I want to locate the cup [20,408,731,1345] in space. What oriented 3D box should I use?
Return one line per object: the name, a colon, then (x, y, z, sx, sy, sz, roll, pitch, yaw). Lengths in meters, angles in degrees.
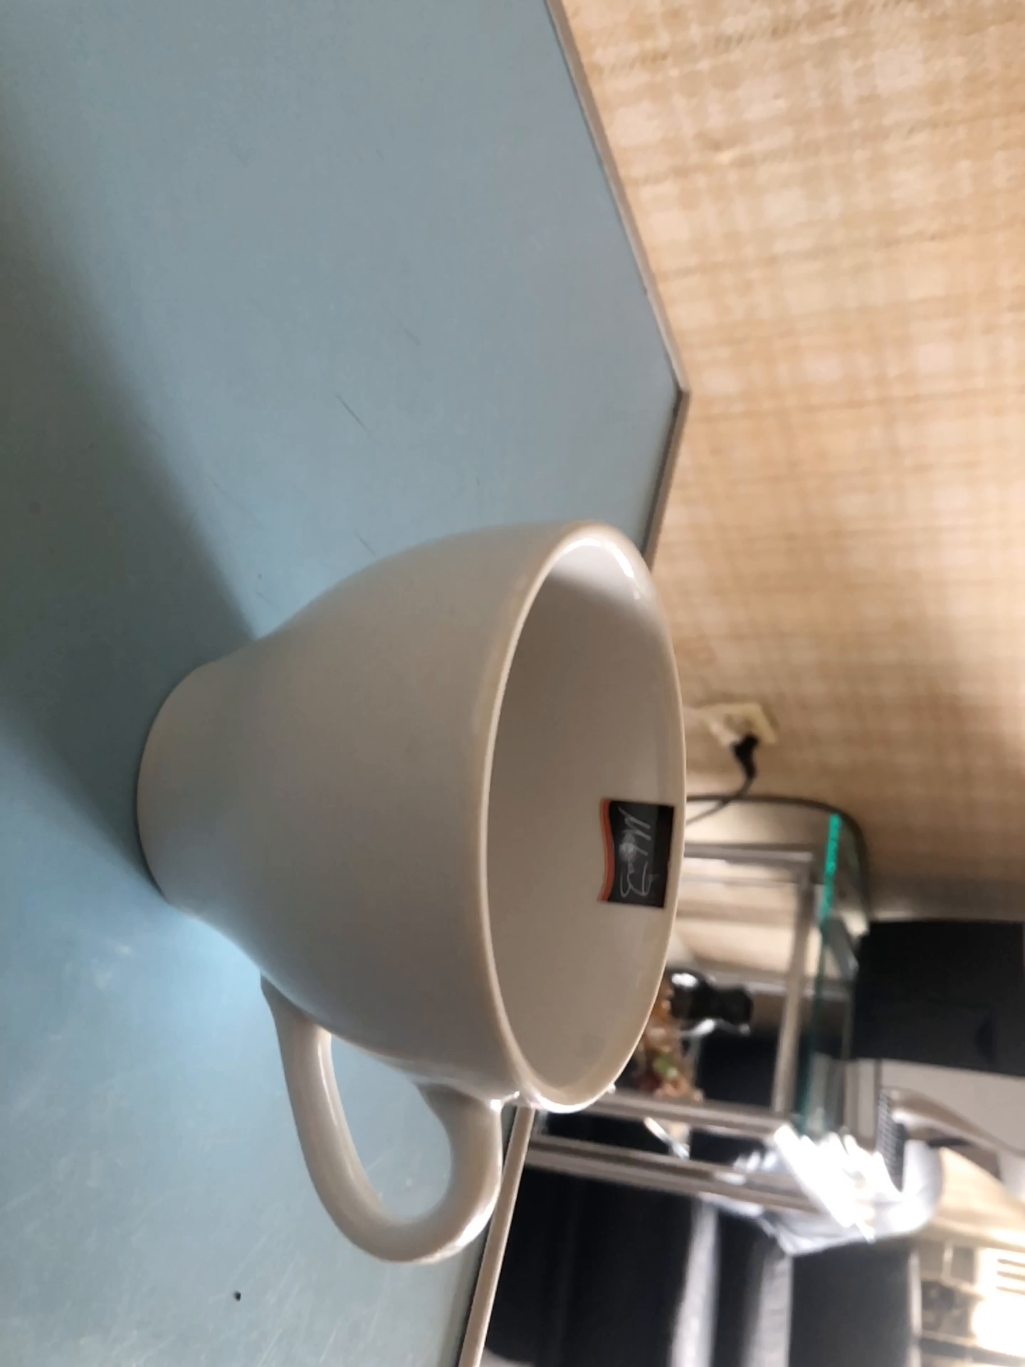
cup: (-0.009, 0.030, 0.184, 0.097, 0.057, 0.106, 0, 90, -64)
